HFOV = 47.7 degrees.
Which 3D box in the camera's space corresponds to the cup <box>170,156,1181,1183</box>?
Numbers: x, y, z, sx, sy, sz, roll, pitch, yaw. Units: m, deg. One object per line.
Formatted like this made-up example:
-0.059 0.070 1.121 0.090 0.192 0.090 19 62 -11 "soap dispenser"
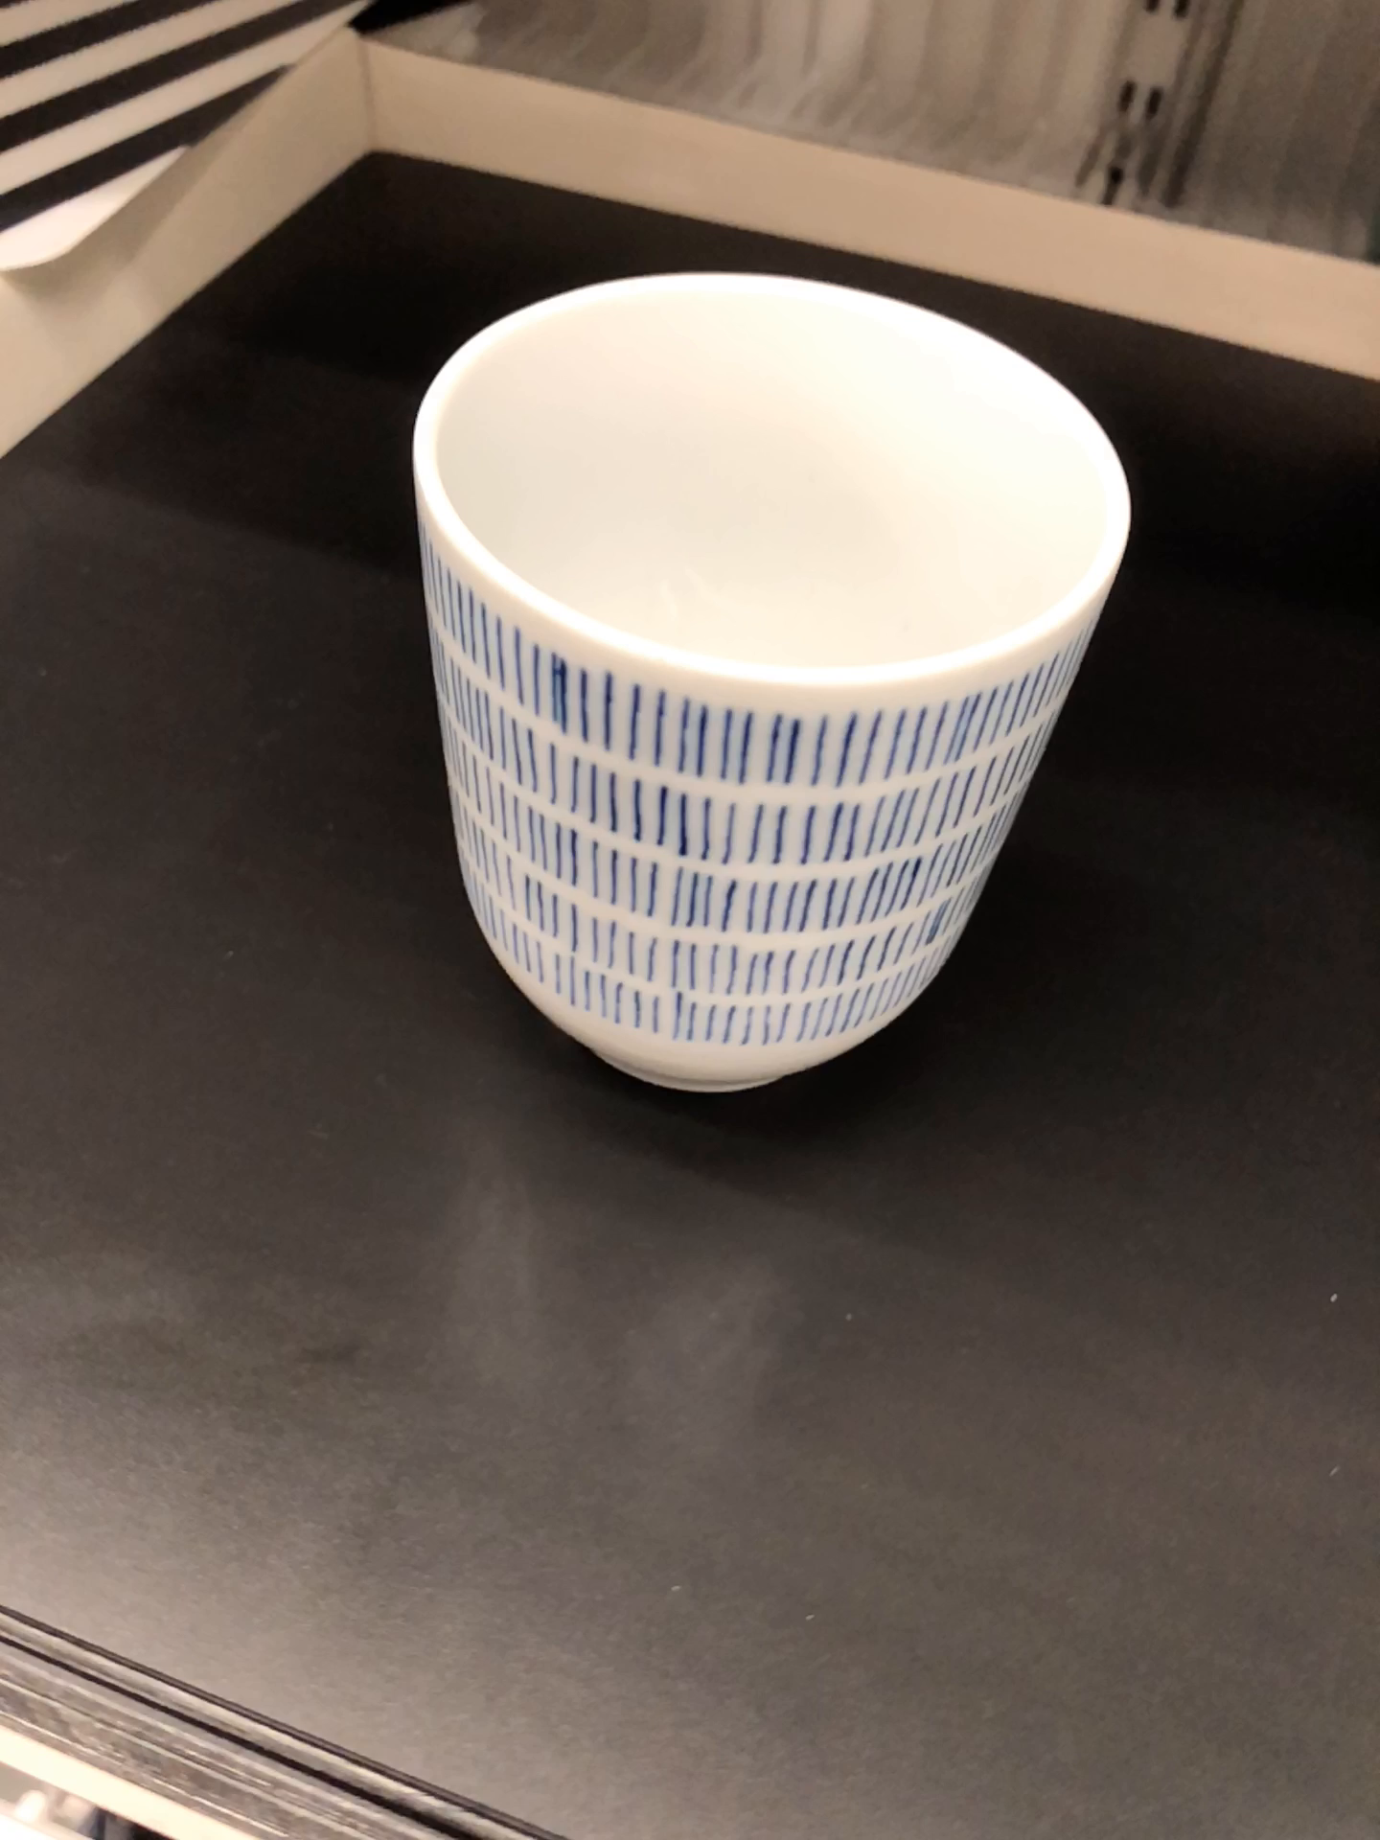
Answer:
0.001 -0.030 0.177 0.080 0.070 0.070 17 48 9 "cup"
